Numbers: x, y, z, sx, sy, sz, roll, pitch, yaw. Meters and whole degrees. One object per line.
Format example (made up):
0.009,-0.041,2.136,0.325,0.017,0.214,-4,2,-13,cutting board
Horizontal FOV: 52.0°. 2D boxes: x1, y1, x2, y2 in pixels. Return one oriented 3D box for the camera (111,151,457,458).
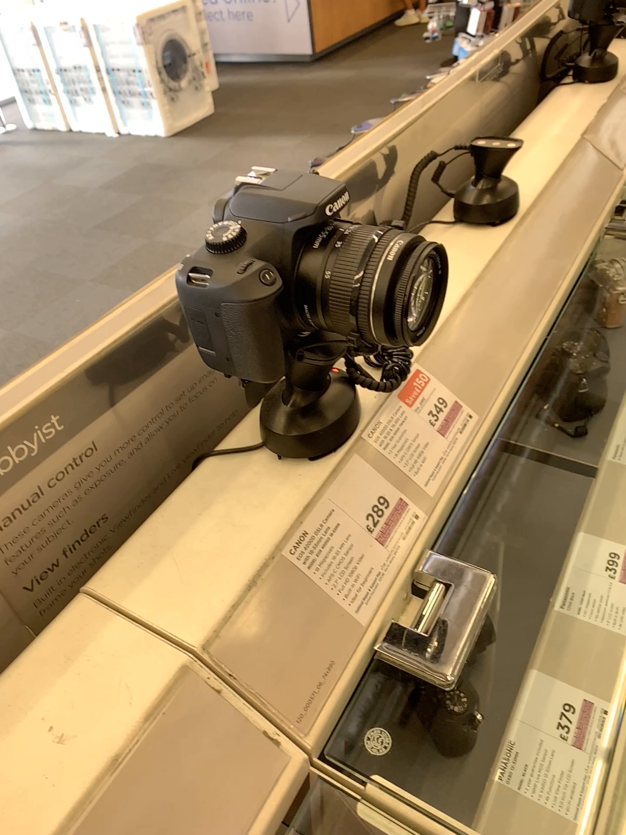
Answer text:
-0.008,-0.078,0.386,0.136,0.101,0.141,20,47,30,camera
